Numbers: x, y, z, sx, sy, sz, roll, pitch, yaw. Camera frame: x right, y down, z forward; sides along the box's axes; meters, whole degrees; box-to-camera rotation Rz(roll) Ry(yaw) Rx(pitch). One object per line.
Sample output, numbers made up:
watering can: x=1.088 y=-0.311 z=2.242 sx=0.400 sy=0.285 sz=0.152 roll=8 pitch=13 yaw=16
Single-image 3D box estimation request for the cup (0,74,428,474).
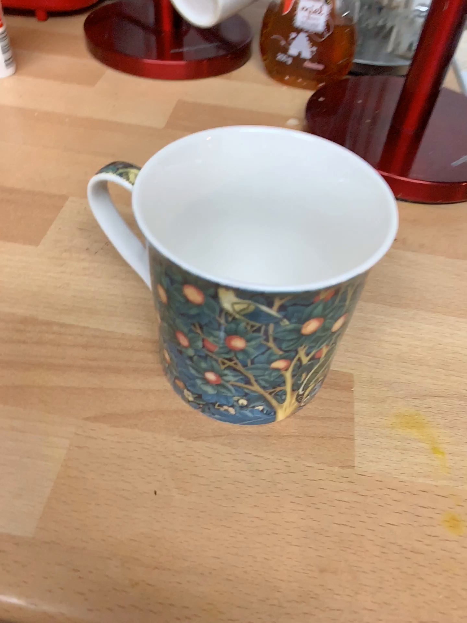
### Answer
cup: x=-0.006 y=-0.019 z=0.197 sx=0.120 sy=0.089 sz=0.091 roll=23 pitch=52 yaw=14
